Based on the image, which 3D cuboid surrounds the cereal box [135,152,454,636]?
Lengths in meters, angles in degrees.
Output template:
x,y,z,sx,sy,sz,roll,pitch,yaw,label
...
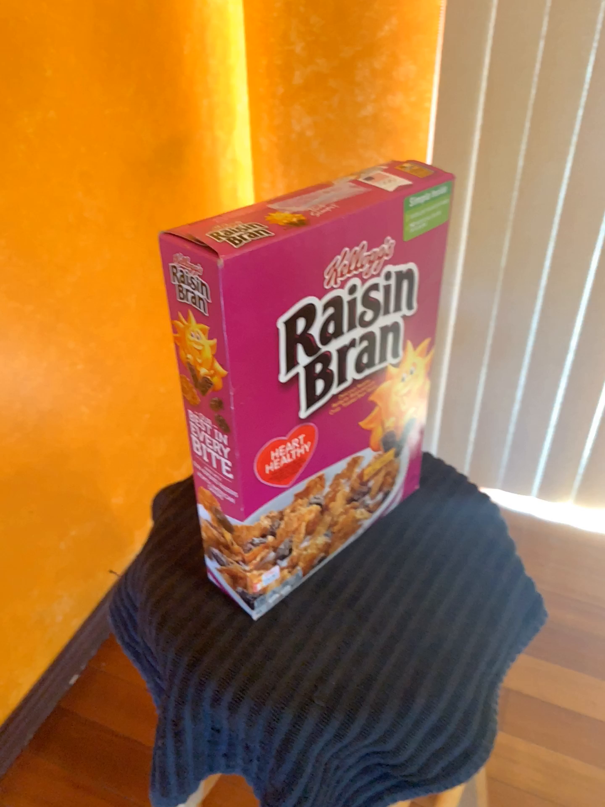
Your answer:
x,y,z,sx,sy,sz,roll,pitch,yaw,label
0.007,-0.003,0.446,0.060,0.288,0.200,29,45,35,cereal box
